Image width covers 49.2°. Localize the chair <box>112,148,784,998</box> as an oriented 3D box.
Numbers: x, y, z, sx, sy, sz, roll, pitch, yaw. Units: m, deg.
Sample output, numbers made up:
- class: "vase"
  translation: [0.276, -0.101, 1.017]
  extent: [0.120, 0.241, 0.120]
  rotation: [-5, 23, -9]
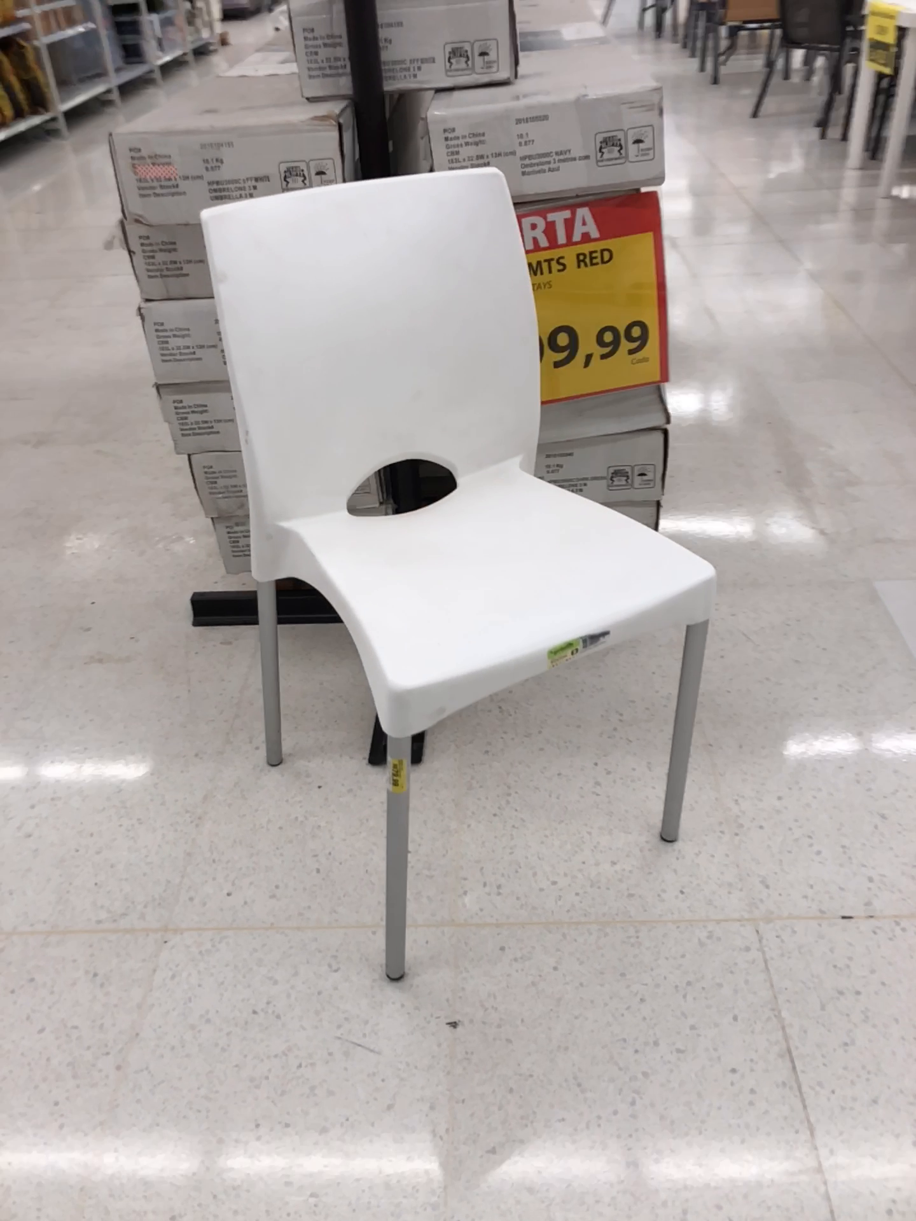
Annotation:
- class: "chair"
  translation: [-0.029, -0.081, 1.263]
  extent: [0.501, 0.794, 0.563]
  rotation: [-19, 37, -21]
